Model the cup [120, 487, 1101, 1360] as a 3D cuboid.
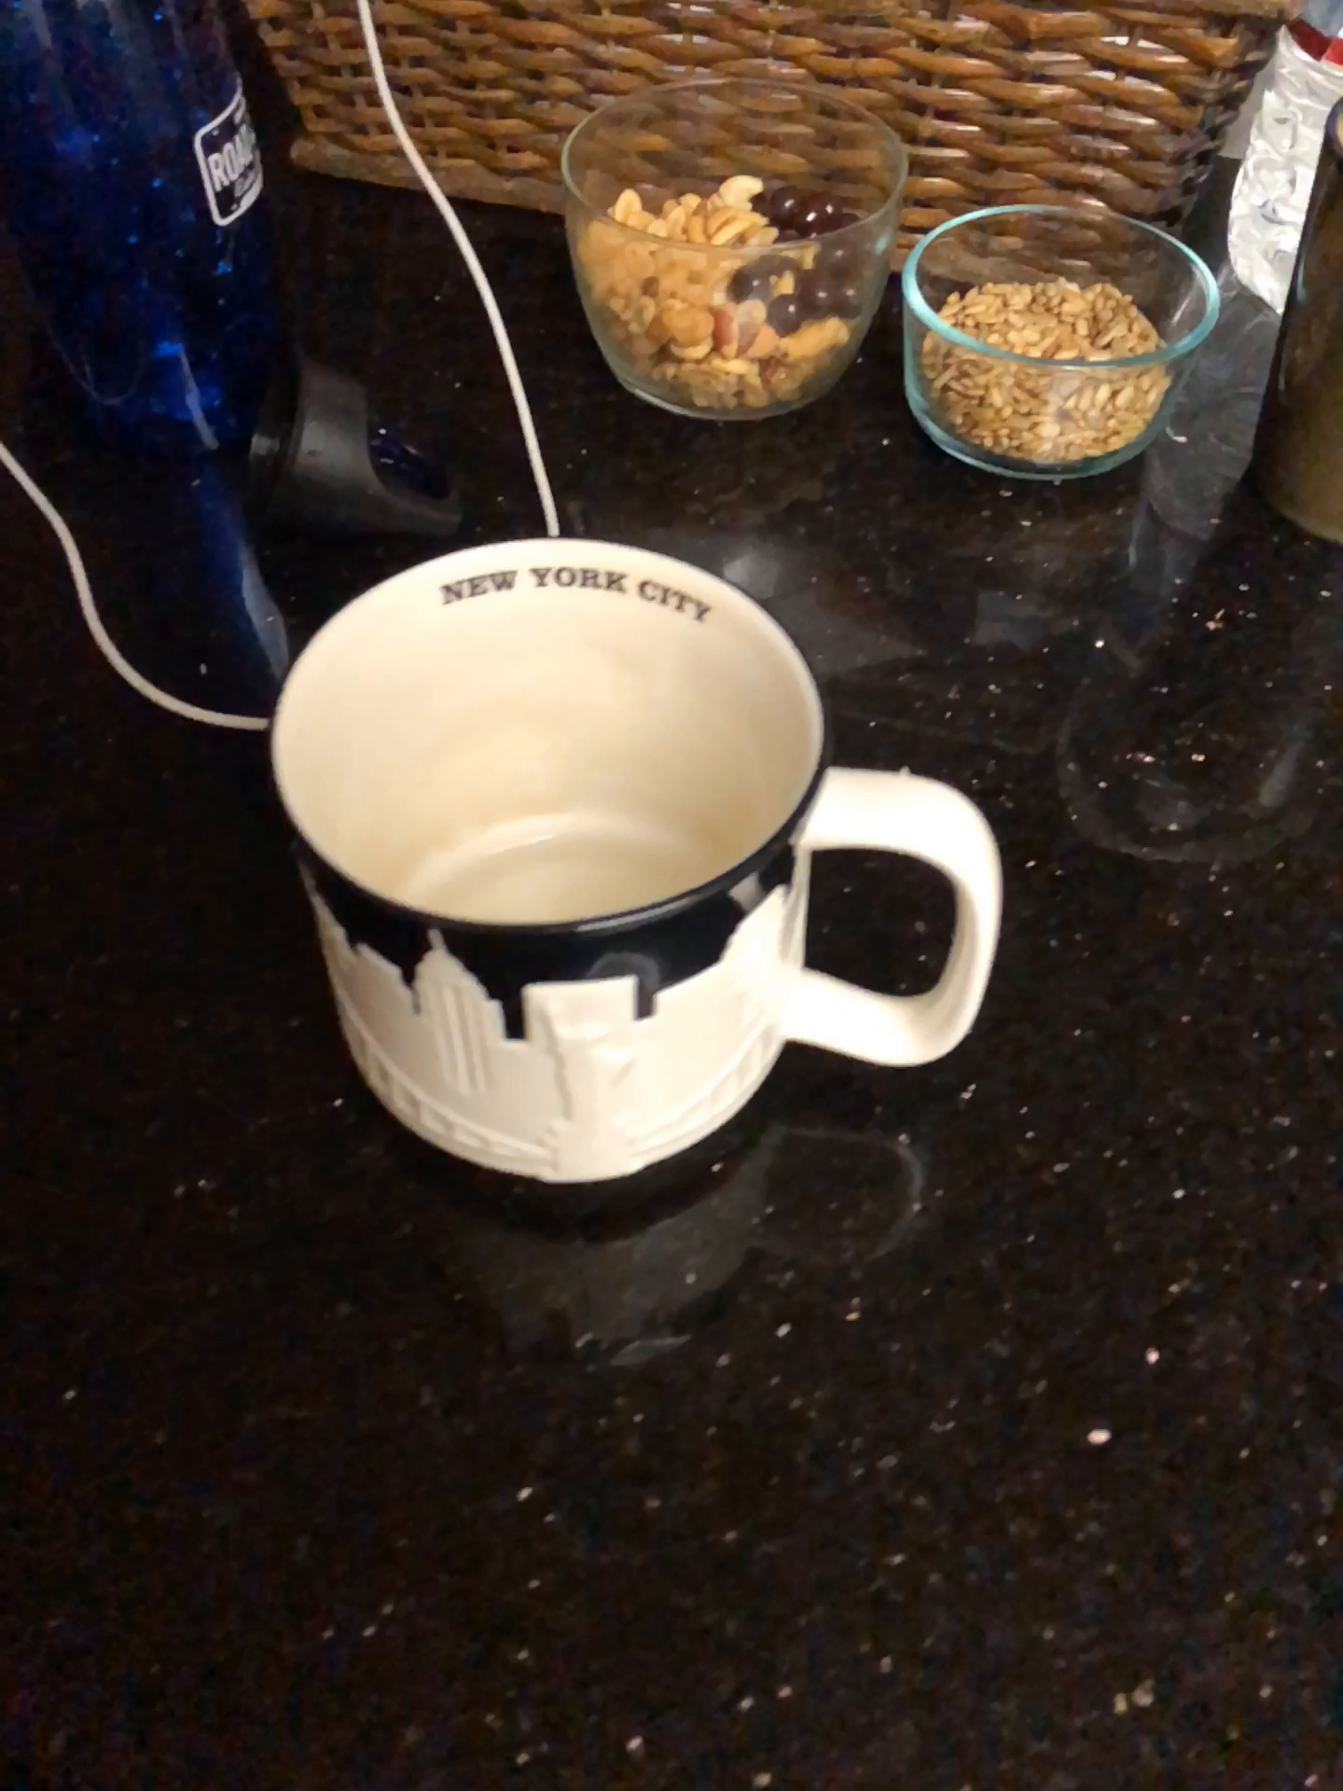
[{"bbox_3d":[-0.004,0.001,0.308,0.150,0.090,0.121,14,53,11],"label":"cup"}]
